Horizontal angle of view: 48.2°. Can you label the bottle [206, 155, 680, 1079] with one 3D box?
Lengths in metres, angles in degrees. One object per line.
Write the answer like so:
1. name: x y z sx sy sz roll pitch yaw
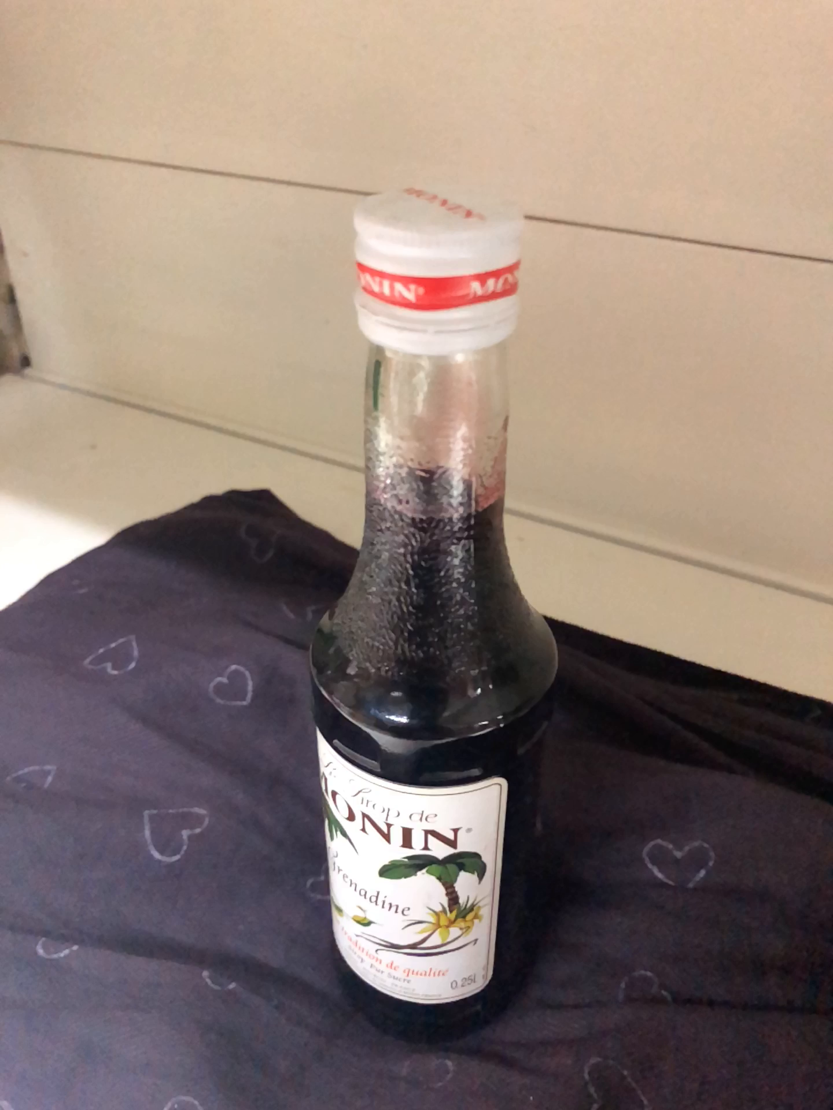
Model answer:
1. bottle: 0.004 0.023 0.212 0.060 0.199 0.060 1 32 -1
